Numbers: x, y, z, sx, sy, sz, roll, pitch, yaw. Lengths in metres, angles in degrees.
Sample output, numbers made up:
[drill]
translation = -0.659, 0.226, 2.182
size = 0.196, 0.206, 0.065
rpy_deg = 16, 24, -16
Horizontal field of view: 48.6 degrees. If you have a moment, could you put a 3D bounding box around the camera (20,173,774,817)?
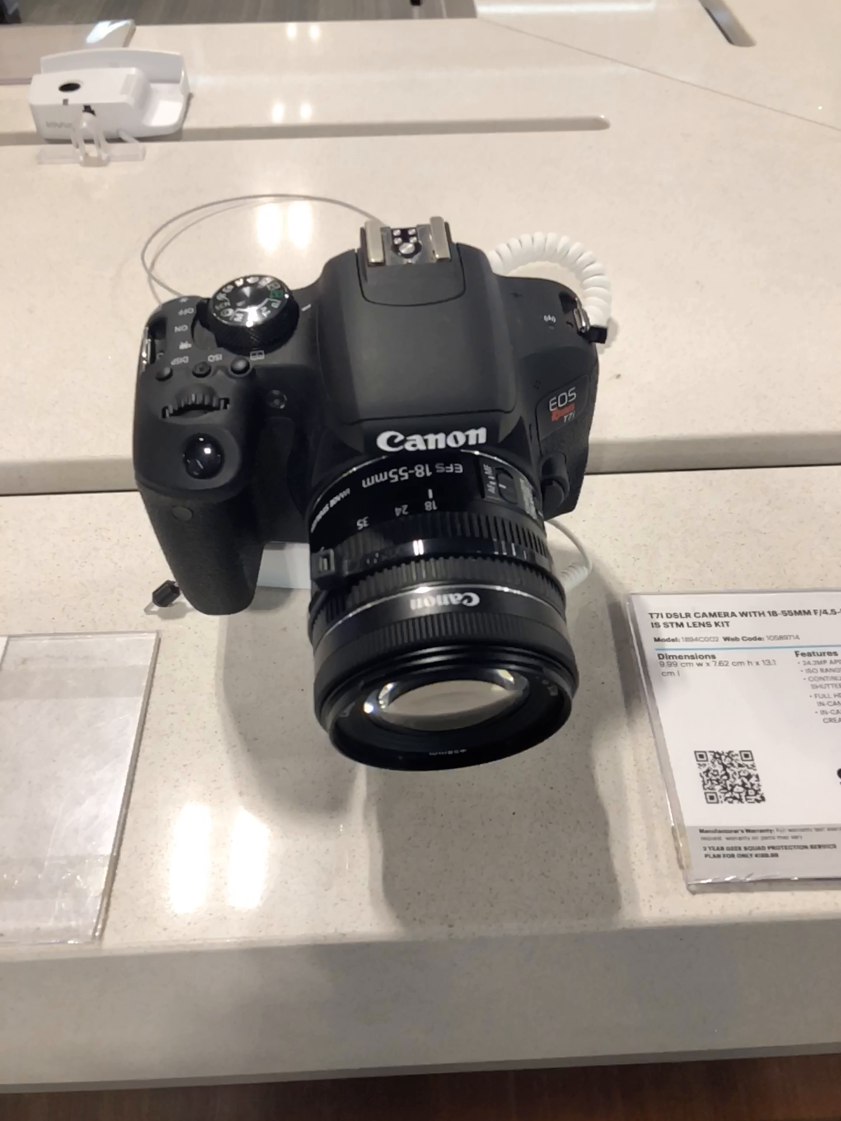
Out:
[camera]
translation = -0.009, -0.021, 0.252
size = 0.140, 0.099, 0.131
rpy_deg = -5, 48, -4
